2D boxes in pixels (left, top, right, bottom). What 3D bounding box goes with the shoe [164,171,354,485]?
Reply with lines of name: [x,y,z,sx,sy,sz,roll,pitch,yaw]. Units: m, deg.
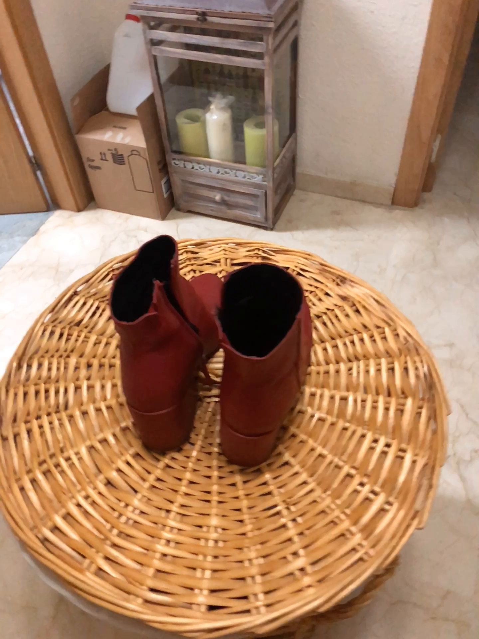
shoe: [0.033,0.003,0.538,0.099,0.184,0.245,13,51,15]

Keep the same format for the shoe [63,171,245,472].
shoe: [-0.064,-0.003,0.548,0.098,0.184,0.245,4,50,8]
